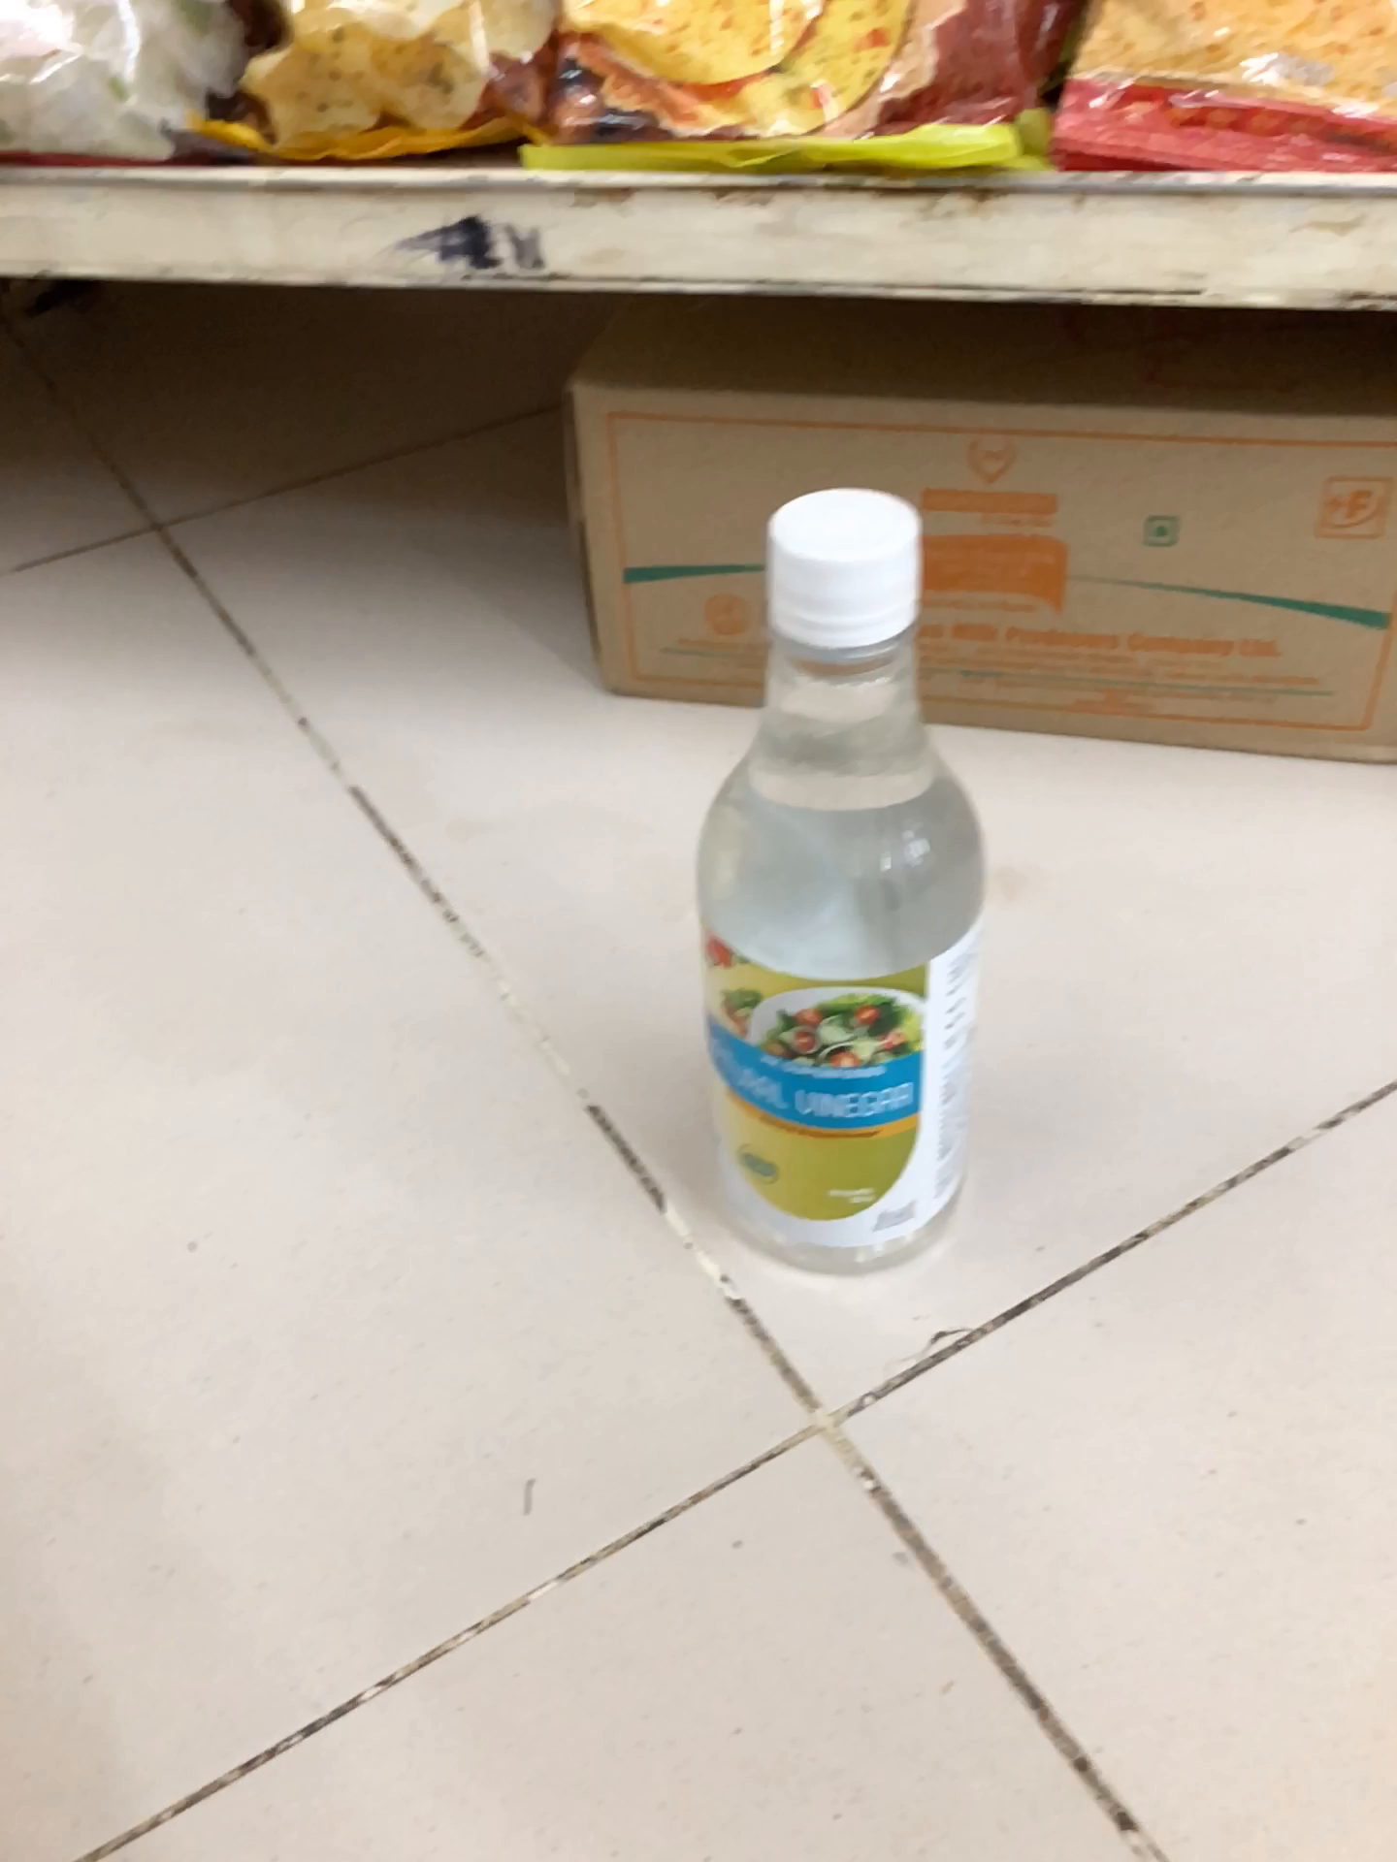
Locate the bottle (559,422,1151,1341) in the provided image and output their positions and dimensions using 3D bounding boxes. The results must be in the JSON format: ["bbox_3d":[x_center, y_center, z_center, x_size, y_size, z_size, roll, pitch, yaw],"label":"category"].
[{"bbox_3d":[0.041,-0.008,0.393,0.090,0.199,0.090,-3,41,3],"label":"bottle"}]
